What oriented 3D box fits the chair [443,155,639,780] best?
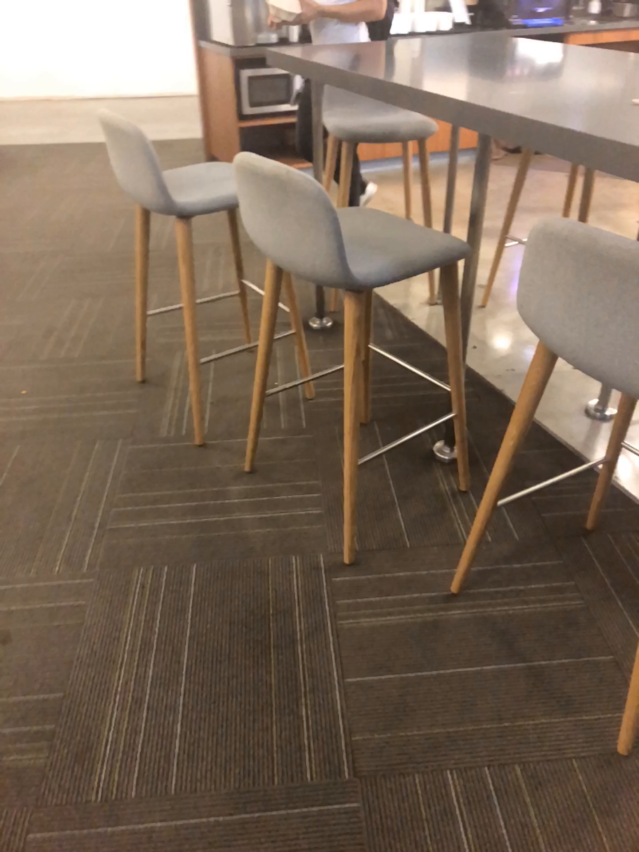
[{"bbox_3d":[0.675,0.070,1.436,0.542,1.031,0.542,-18,36,-24],"label":"chair"}]

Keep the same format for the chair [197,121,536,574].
[{"bbox_3d":[0.100,-0.232,1.862,0.543,0.942,0.572,-21,38,-28],"label":"chair"}]

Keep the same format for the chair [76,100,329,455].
[{"bbox_3d":[-0.361,-0.516,2.349,0.543,0.942,0.572,-21,38,-28],"label":"chair"}]
